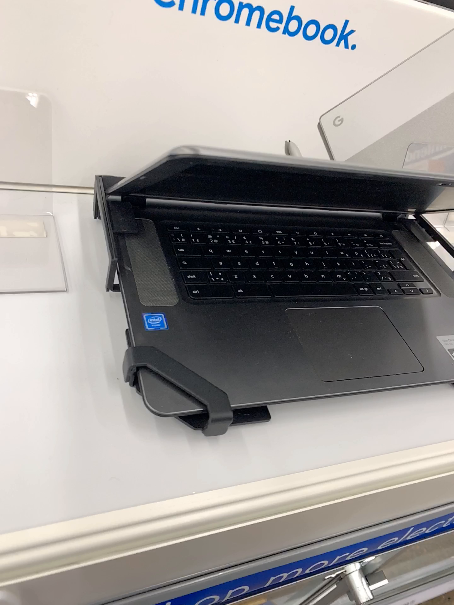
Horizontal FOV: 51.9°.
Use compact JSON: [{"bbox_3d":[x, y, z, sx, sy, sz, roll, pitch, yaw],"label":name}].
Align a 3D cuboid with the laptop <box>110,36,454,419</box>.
[{"bbox_3d":[0.091,-0.056,0.320,0.303,0.119,0.198,-1,45,-23],"label":"laptop"}]
